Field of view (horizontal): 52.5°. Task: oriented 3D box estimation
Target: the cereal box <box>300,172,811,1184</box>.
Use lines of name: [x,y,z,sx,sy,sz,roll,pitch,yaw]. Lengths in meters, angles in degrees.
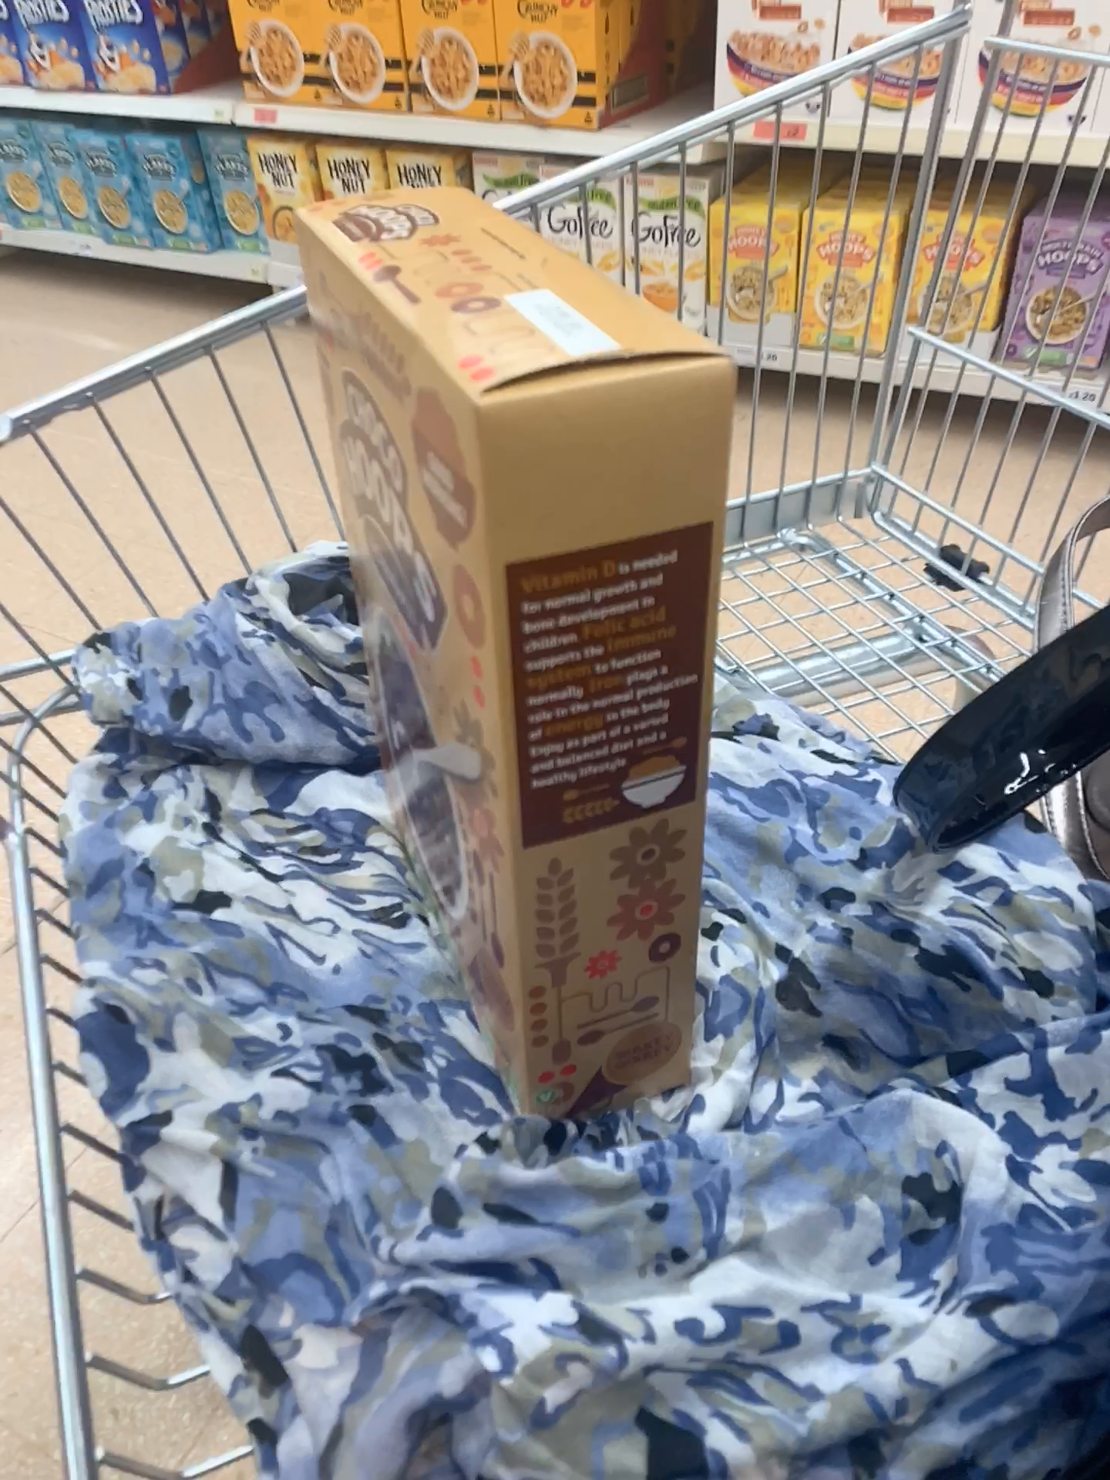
cereal box: [-0.013,-0.022,0.420,0.070,0.297,0.222,-15,40,-17]
